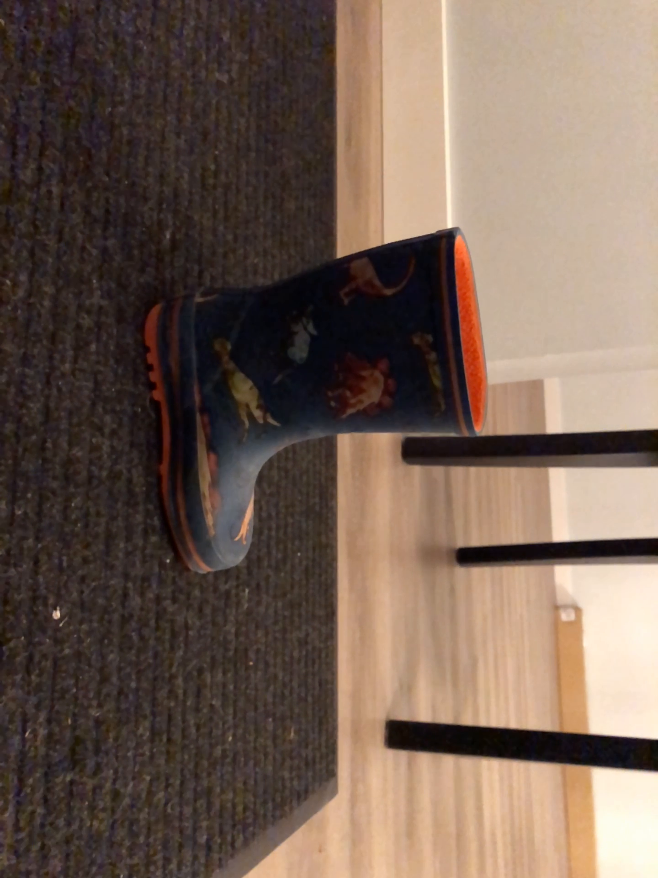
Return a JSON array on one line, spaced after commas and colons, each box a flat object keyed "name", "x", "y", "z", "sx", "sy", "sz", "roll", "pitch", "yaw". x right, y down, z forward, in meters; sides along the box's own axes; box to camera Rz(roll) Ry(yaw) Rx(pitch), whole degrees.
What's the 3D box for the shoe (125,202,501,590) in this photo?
[{"name": "shoe", "x": -0.004, "y": -0.018, "z": 0.424, "sx": 0.080, "sy": 0.179, "sz": 0.190, "roll": -26, "pitch": 110, "yaw": -70}]
